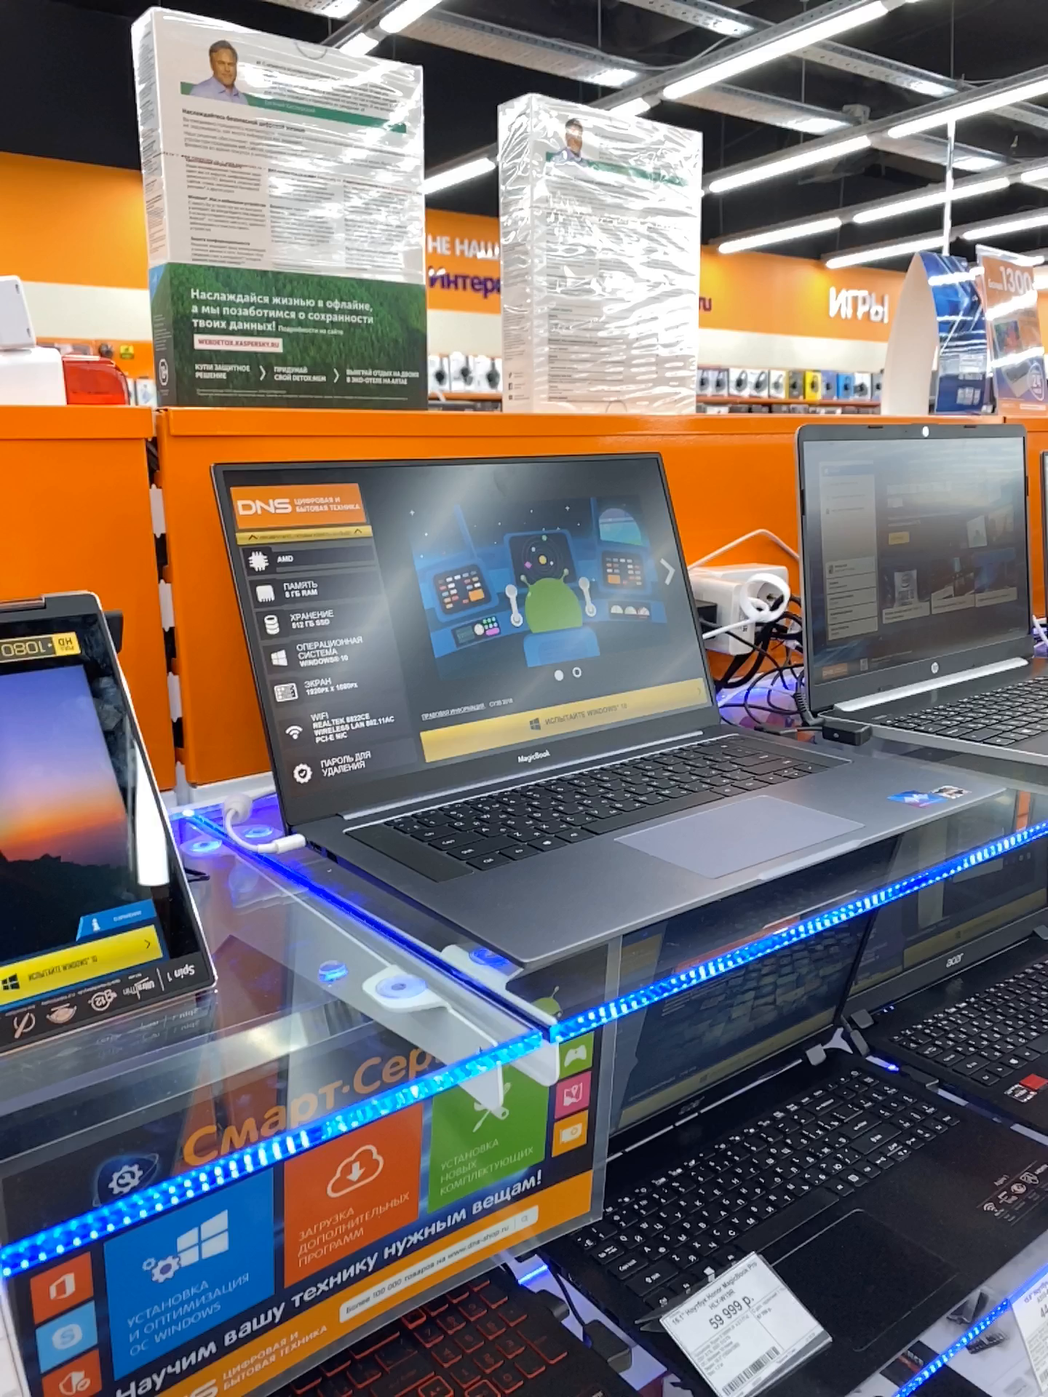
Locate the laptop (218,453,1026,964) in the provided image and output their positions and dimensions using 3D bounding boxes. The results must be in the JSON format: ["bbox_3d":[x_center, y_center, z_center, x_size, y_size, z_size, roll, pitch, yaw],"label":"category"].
[{"bbox_3d":[0.054,-0.043,0.660,0.368,0.207,0.315,-9,15,-35],"label":"laptop"}]
